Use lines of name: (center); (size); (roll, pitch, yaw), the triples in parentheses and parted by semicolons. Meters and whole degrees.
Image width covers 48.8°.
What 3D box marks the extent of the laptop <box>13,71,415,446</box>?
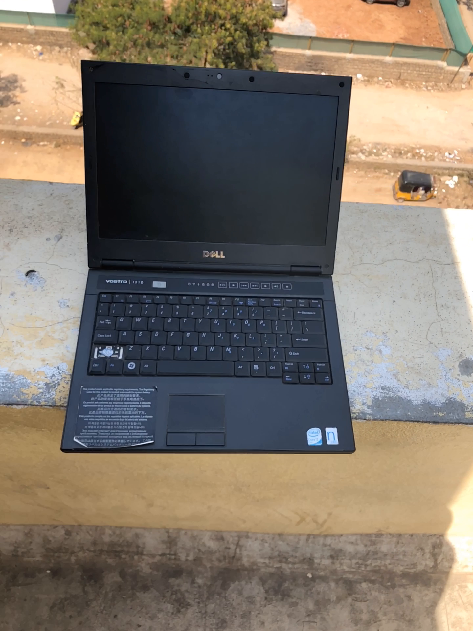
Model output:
laptop: (-0.019, -0.069, 0.568); (0.301, 0.178, 0.377); (1, 58, -3)
